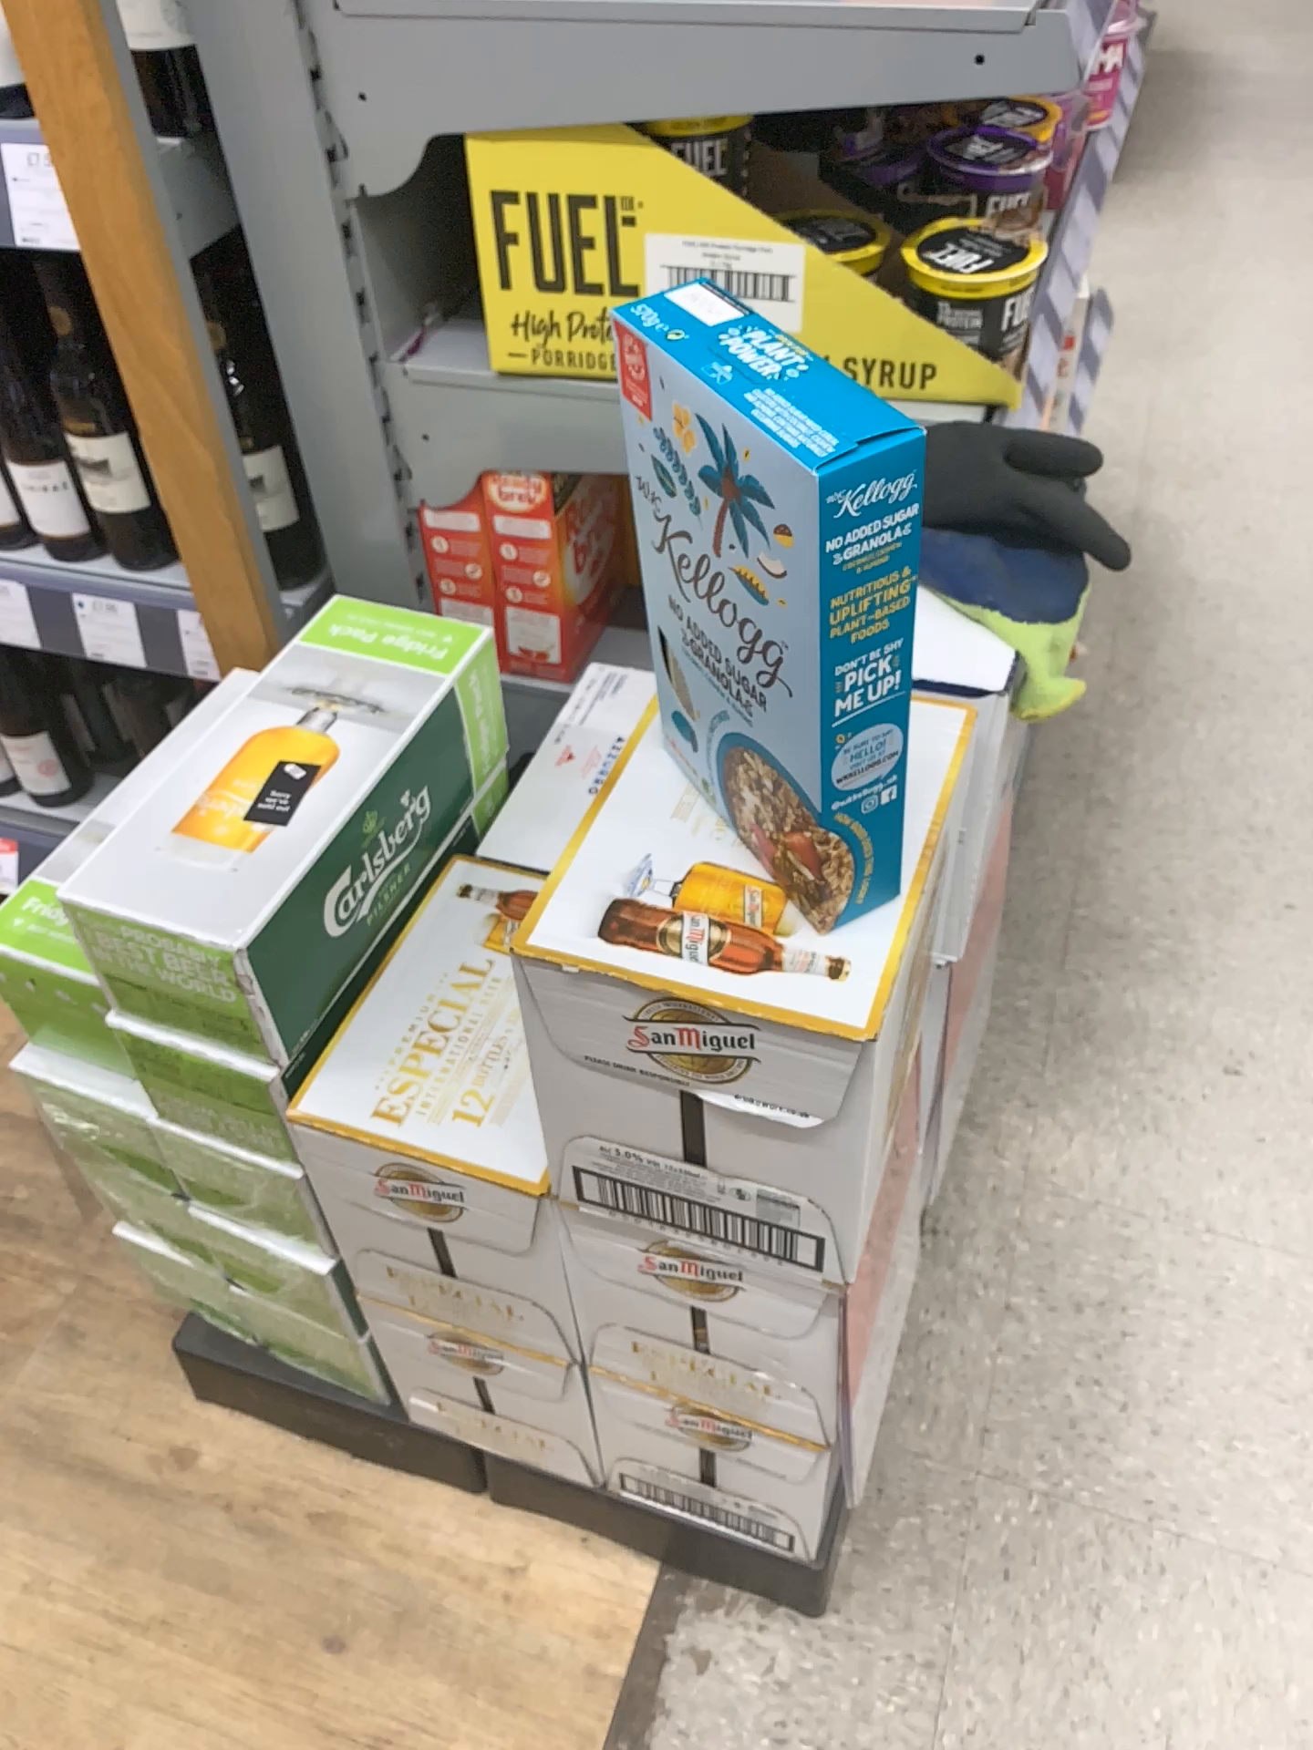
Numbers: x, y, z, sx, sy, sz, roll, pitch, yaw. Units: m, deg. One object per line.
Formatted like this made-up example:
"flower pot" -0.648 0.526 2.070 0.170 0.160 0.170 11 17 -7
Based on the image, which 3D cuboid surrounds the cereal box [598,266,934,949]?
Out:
"cereal box" 0.048 -0.110 0.593 0.050 0.248 0.161 -24 48 -15
